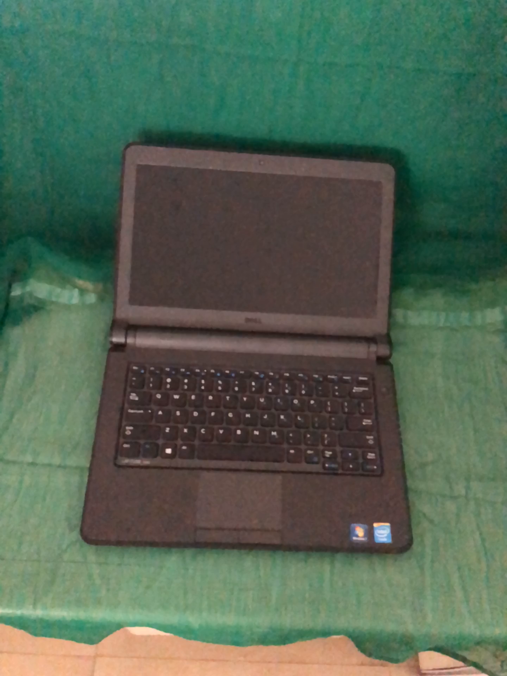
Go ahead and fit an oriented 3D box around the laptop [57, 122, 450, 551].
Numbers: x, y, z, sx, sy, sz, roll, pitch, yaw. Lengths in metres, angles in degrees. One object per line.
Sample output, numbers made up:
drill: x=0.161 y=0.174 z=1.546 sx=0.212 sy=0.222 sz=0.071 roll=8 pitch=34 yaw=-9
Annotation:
laptop: x=0.004 y=-0.019 z=0.577 sx=0.311 sy=0.096 sz=0.421 roll=3 pitch=63 yaw=-3
